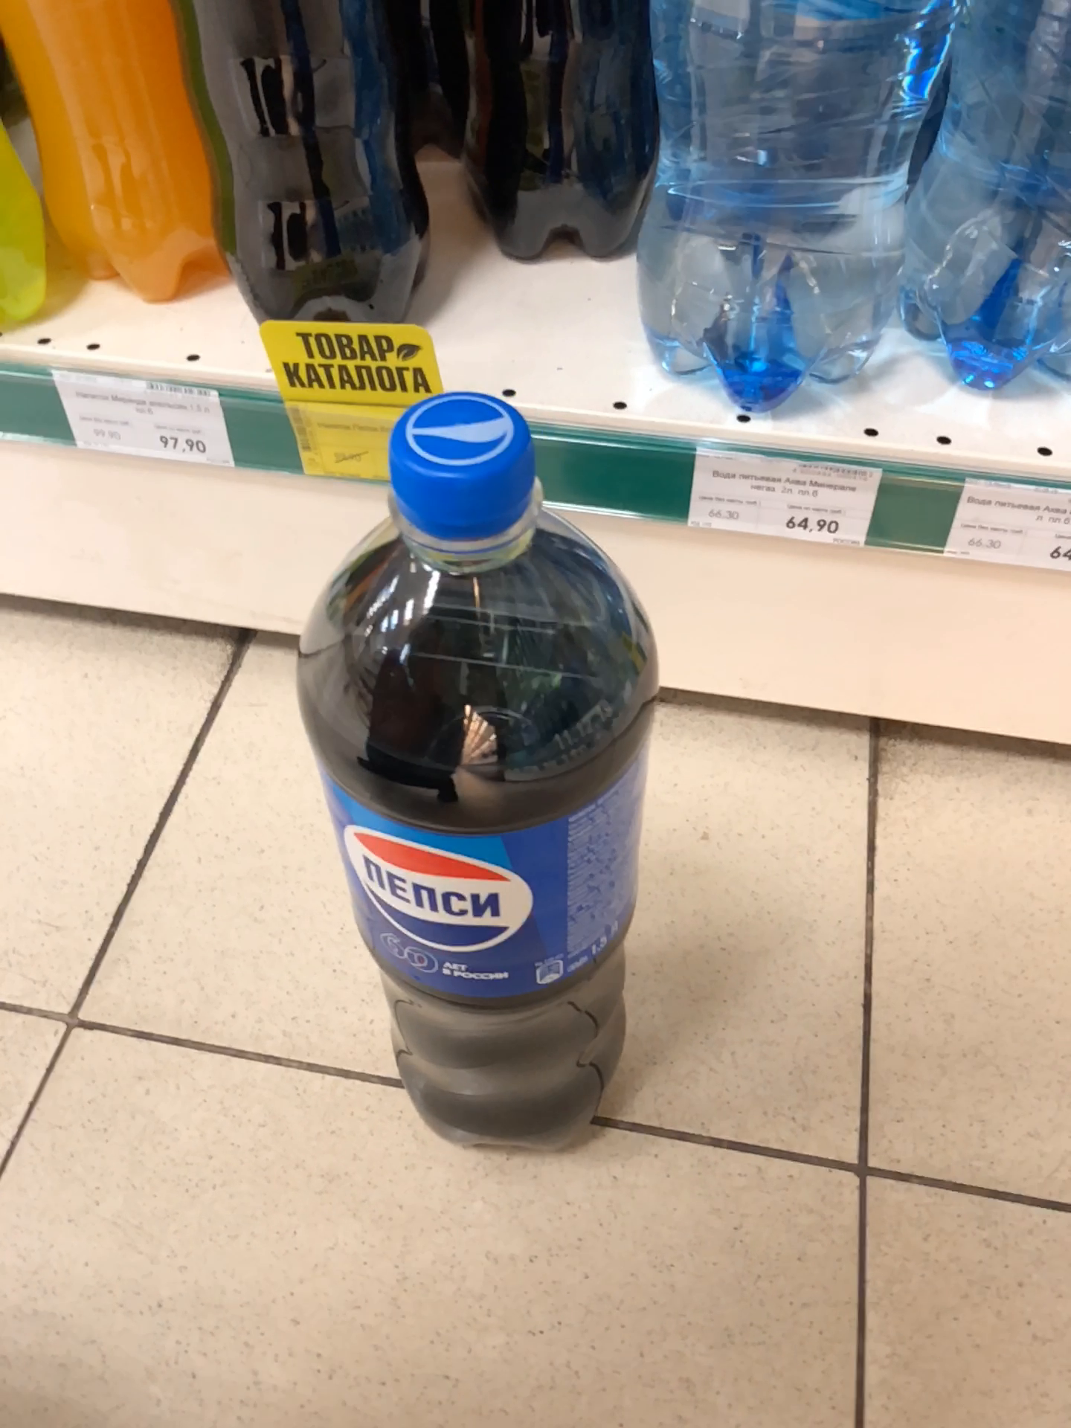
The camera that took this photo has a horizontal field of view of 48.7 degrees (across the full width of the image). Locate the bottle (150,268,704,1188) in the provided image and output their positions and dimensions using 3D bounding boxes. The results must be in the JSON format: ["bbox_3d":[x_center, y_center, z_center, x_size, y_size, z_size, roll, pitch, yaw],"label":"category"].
[{"bbox_3d":[-0.015,0.038,0.359,0.089,0.315,0.085,-1,50,1],"label":"bottle"}]
